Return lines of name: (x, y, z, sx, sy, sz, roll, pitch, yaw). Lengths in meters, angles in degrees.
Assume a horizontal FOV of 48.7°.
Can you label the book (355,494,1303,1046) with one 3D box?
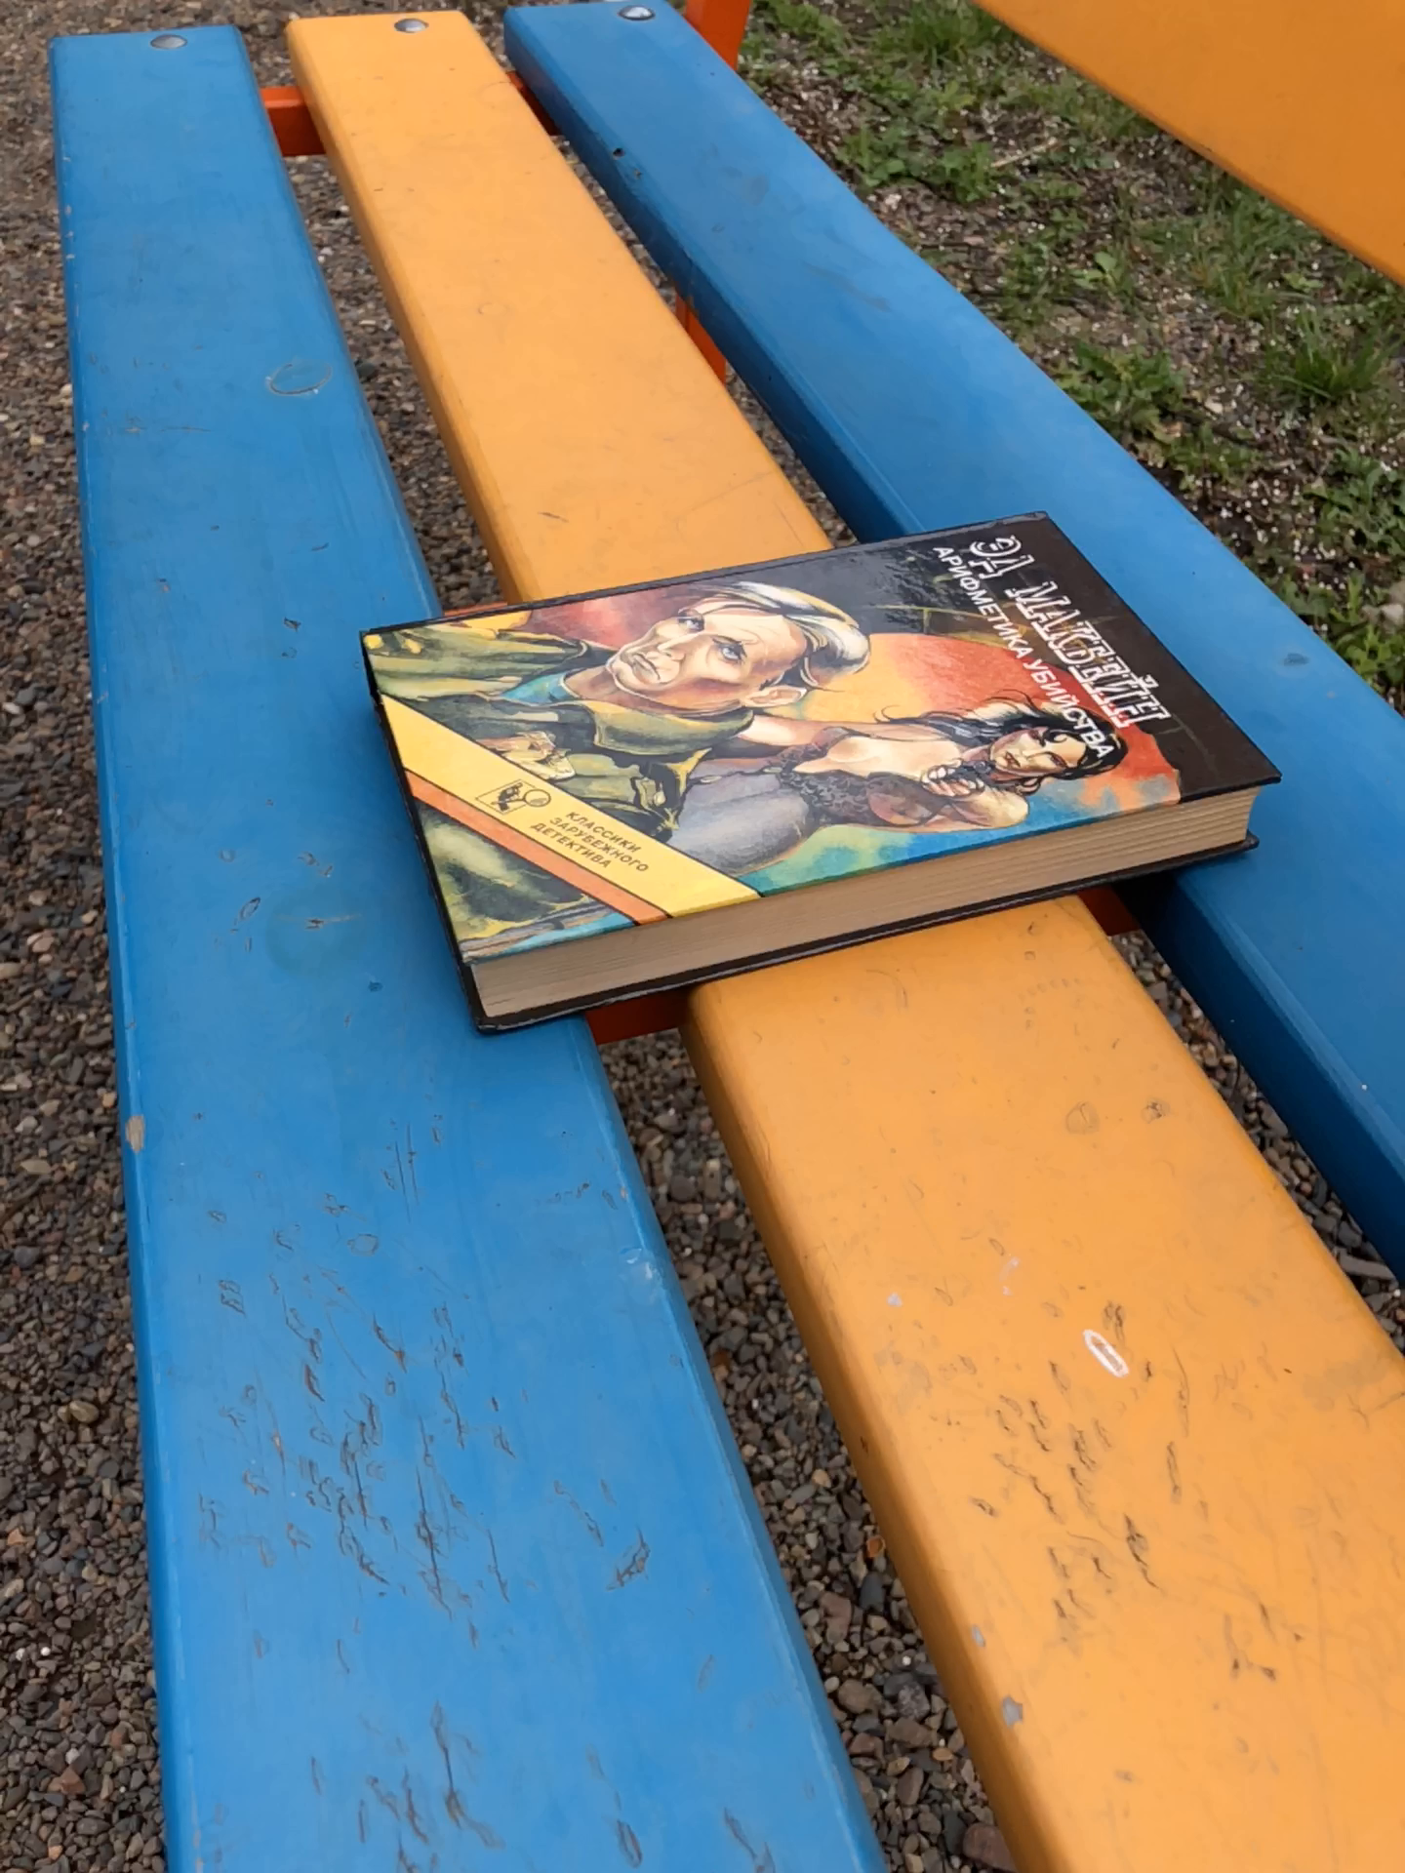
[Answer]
book: (0.026, -0.055, 0.412, 0.210, 0.030, 0.136, -13, 47, -13)
